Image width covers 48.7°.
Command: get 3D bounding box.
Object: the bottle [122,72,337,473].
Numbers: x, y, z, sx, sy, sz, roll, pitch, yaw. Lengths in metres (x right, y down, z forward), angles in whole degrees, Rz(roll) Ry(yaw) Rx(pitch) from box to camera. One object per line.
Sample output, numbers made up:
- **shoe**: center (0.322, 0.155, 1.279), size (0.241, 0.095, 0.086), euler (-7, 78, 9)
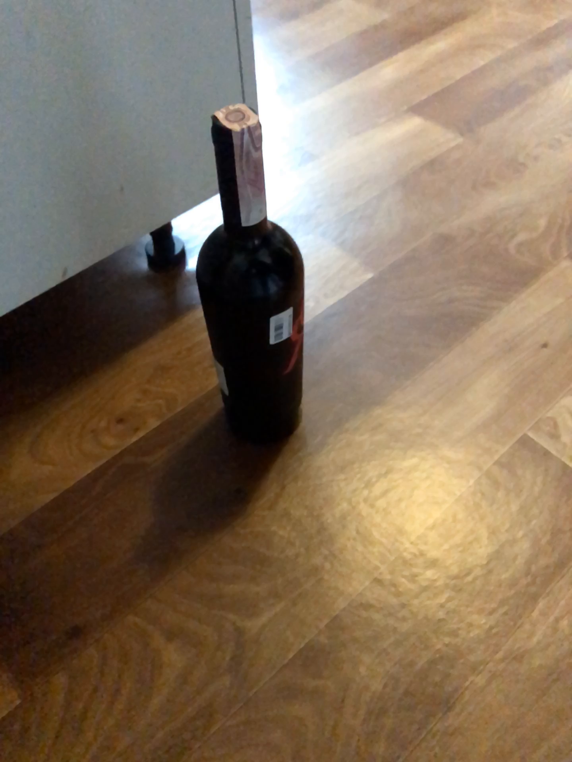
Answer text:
- **bottle**: center (-0.027, -0.057, 0.484), size (0.090, 0.297, 0.090), euler (-2, 53, 2)
